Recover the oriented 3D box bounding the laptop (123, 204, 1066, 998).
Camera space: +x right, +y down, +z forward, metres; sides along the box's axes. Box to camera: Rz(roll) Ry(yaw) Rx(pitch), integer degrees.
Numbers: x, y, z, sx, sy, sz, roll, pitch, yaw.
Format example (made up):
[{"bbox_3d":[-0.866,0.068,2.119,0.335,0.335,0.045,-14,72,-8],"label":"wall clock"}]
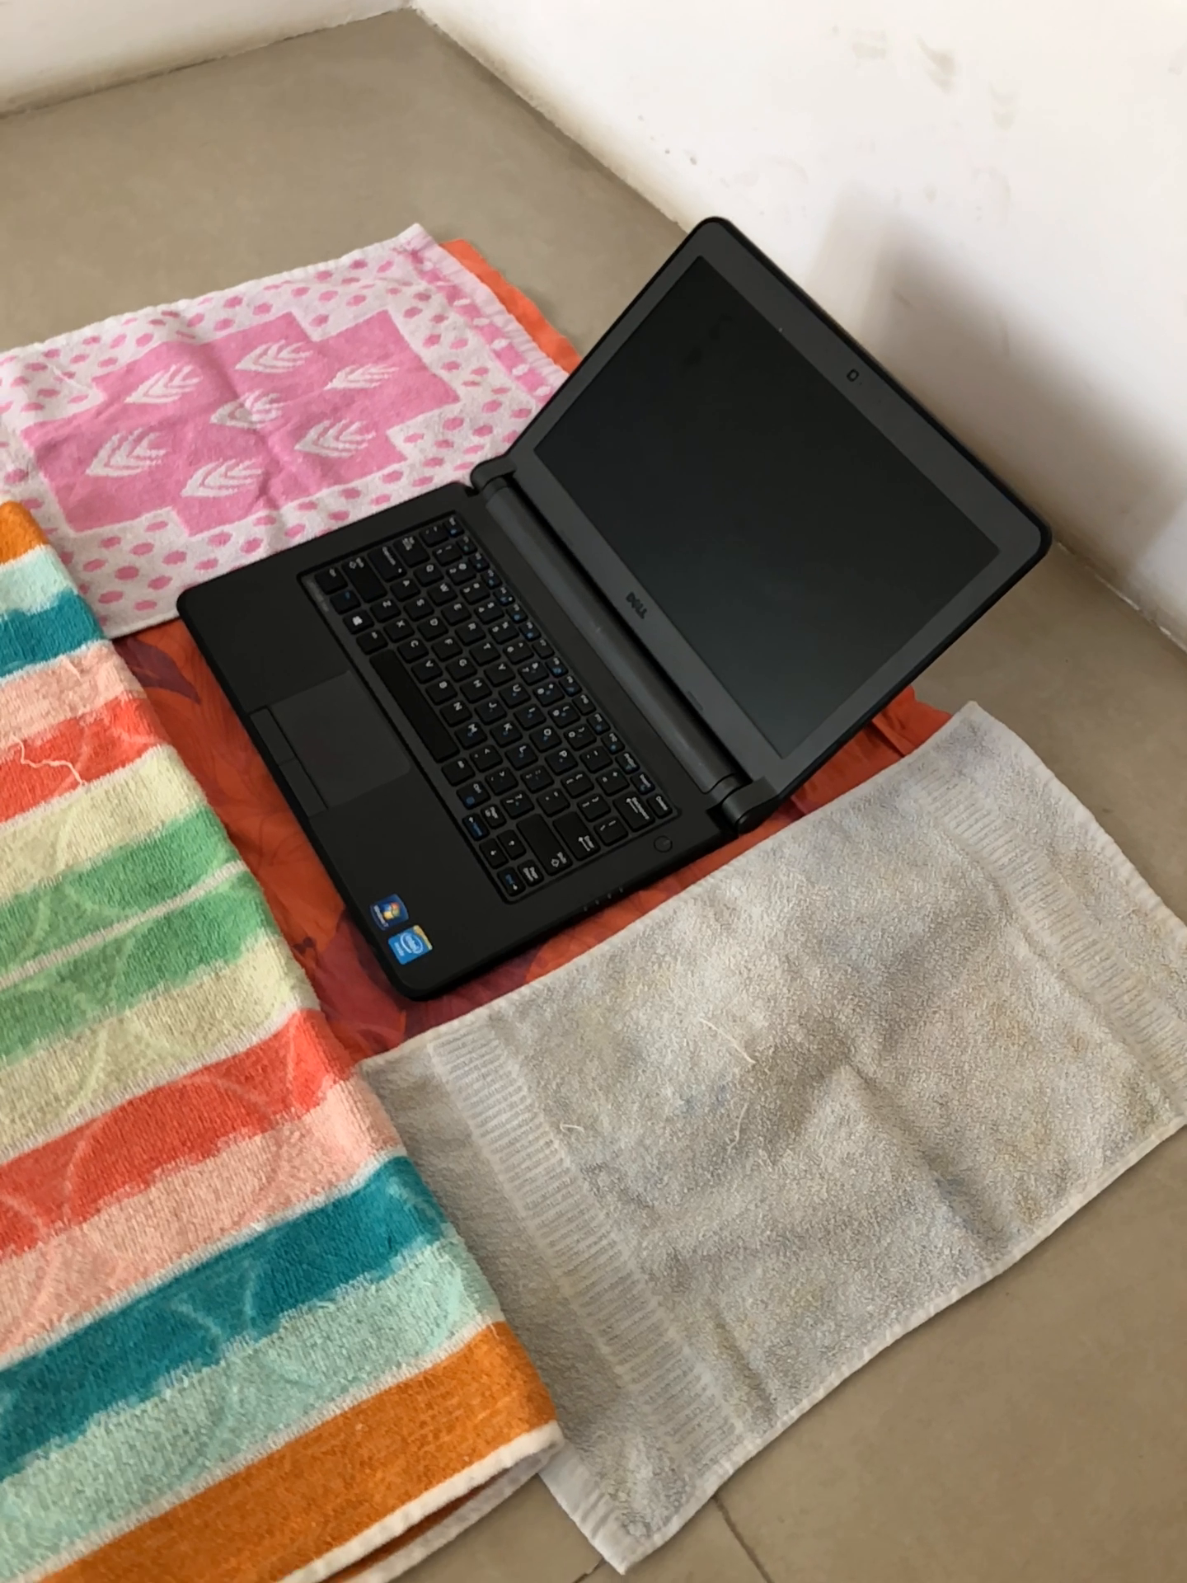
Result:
[{"bbox_3d":[-0.008,-0.130,0.753,0.392,0.143,0.314,-26,62,-17],"label":"laptop"}]
